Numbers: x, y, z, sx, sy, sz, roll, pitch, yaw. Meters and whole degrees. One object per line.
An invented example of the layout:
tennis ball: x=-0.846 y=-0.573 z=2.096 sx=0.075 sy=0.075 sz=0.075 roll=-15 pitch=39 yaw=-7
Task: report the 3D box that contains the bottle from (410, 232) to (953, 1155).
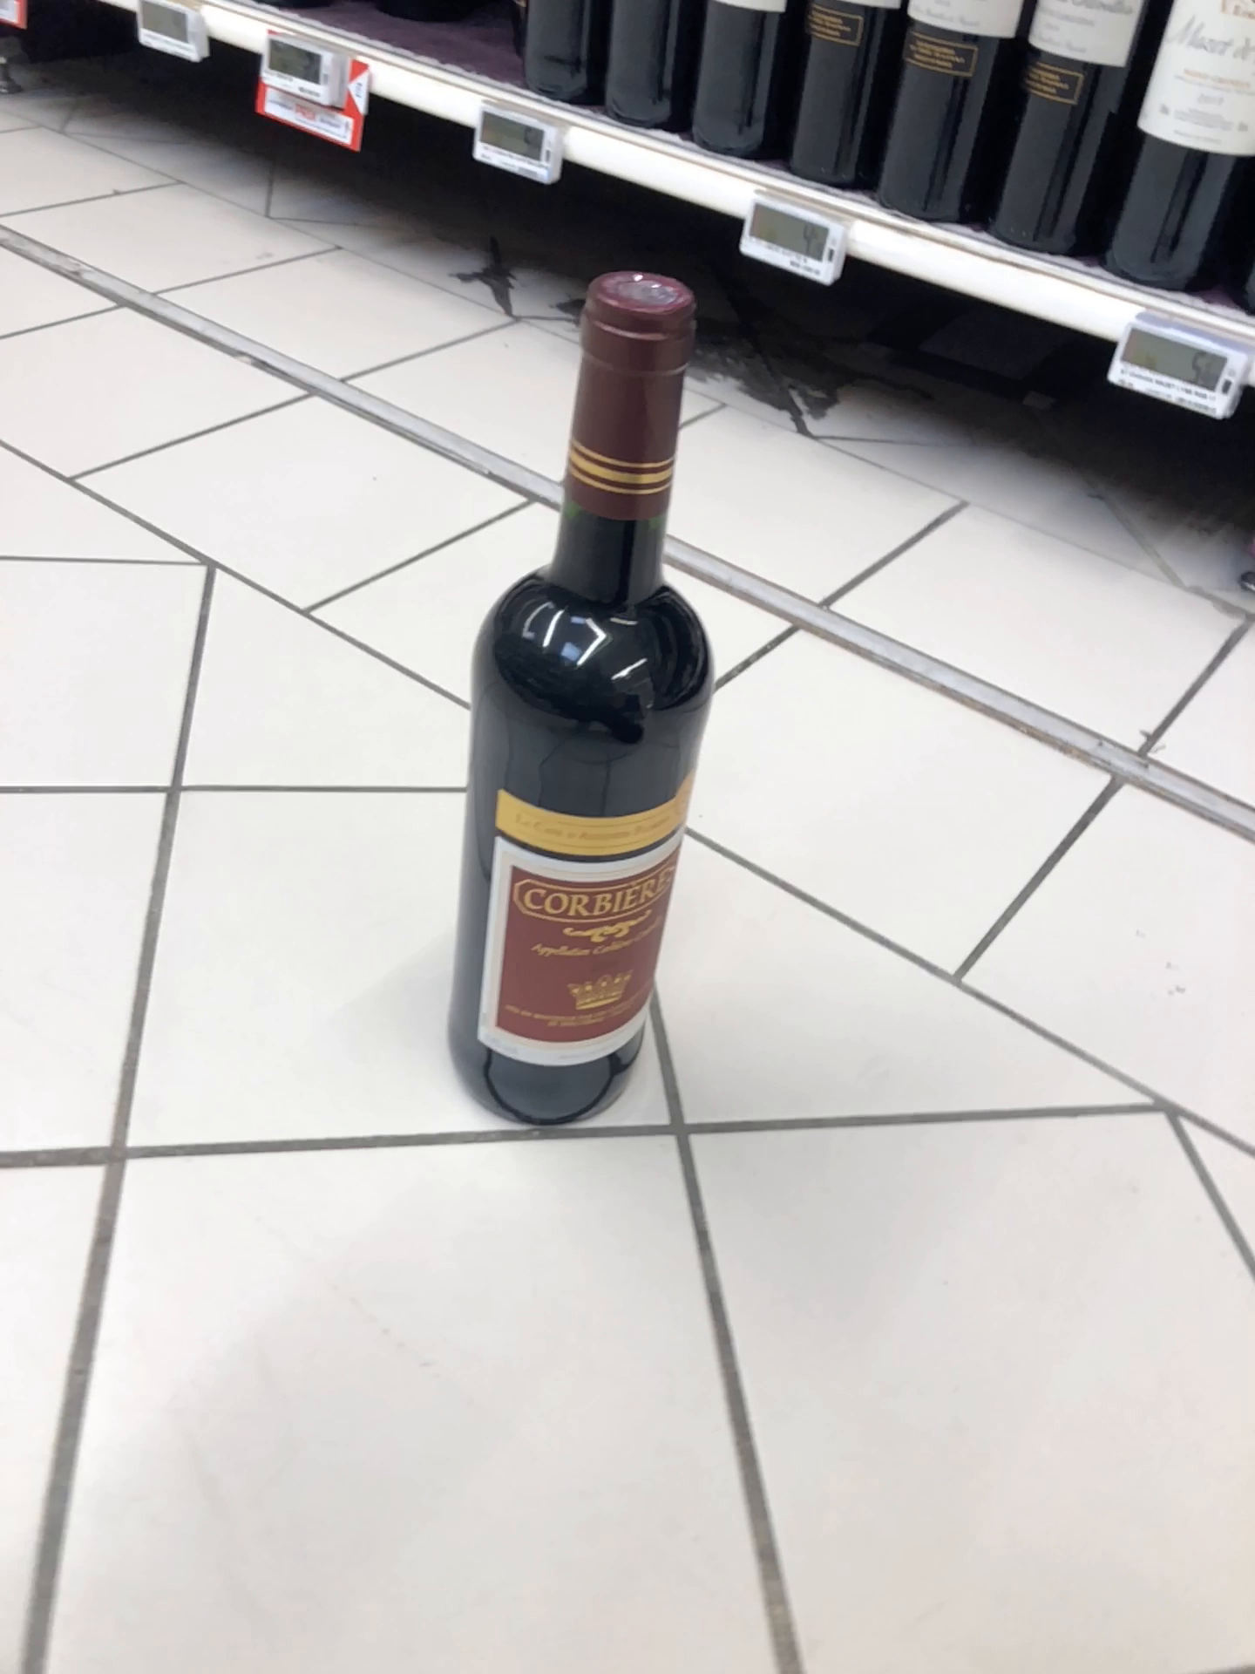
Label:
bottle: x=-0.002 y=-0.035 z=0.441 sx=0.100 sy=0.268 sz=0.100 roll=5 pitch=40 yaw=-4
